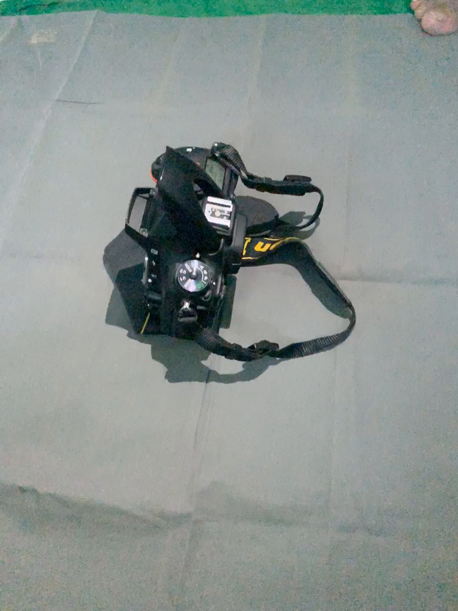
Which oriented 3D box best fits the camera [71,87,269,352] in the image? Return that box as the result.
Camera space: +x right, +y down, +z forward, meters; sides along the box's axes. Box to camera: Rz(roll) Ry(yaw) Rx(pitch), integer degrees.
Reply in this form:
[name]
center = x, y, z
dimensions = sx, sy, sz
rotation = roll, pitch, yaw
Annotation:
[camera]
center = -0.033, -0.060, 0.359
dimensions = 0.100, 0.125, 0.140
rotation = 8, 62, 3
